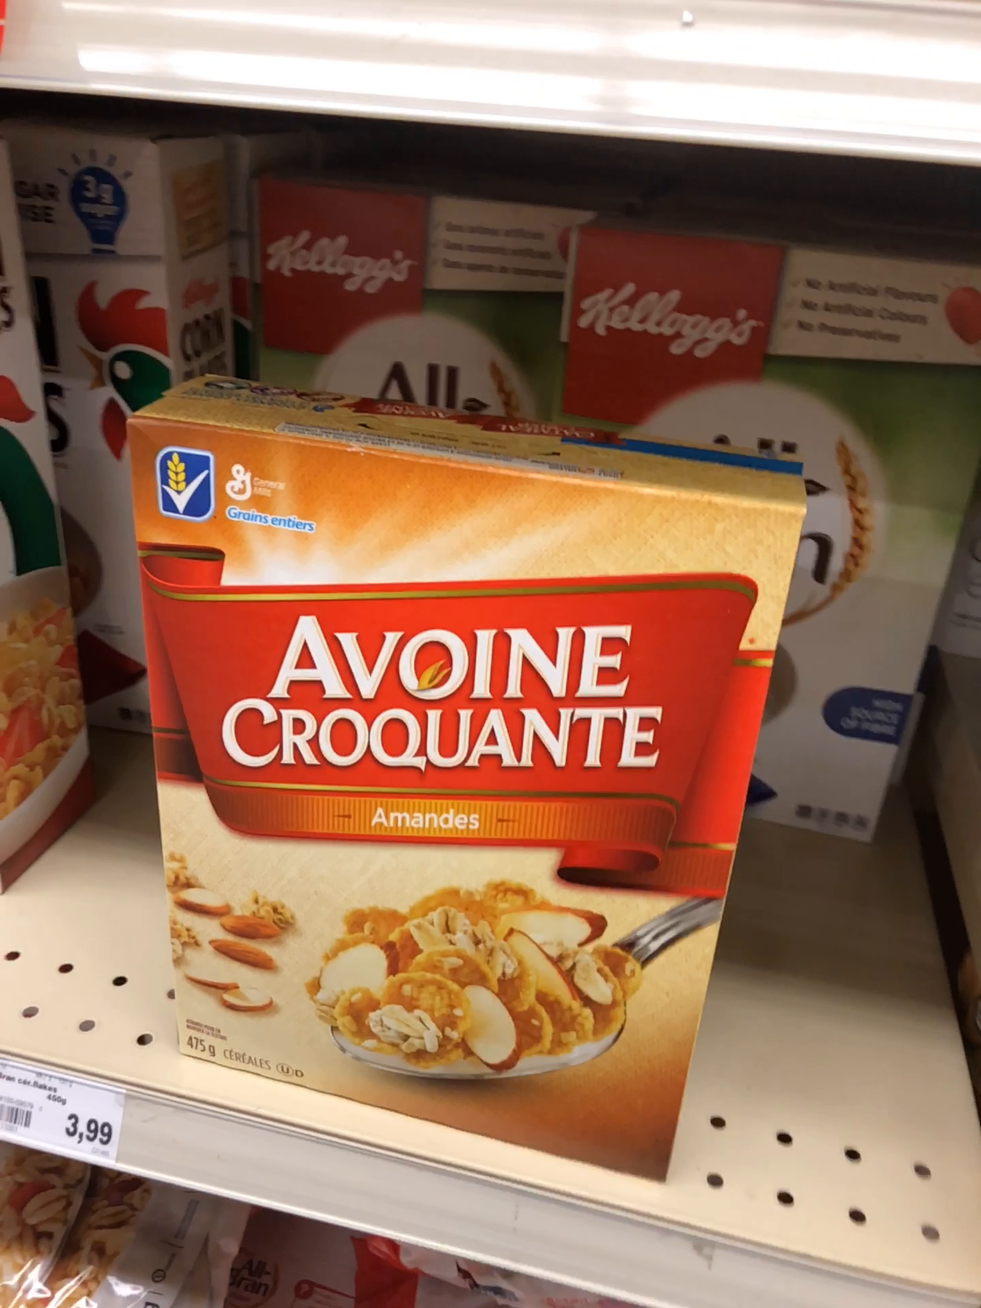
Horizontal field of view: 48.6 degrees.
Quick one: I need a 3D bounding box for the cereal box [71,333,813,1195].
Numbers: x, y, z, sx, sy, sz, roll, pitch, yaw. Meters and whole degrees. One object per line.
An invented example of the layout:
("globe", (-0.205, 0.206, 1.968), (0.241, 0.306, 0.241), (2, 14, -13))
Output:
("cereal box", (-0.020, 0.045, 0.370), (0.200, 0.268, 0.060), (10, 29, 11))
